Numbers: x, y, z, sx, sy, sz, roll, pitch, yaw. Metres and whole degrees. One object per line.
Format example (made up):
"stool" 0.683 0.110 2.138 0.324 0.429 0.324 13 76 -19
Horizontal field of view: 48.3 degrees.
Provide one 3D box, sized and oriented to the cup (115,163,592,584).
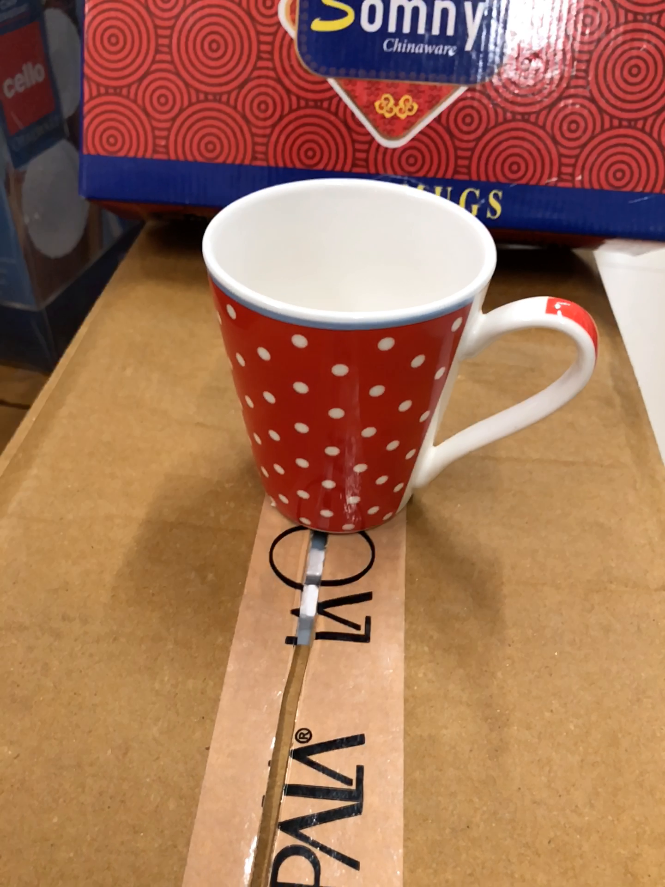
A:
"cup" 0.010 -0.025 0.242 0.120 0.089 0.081 10 42 8
